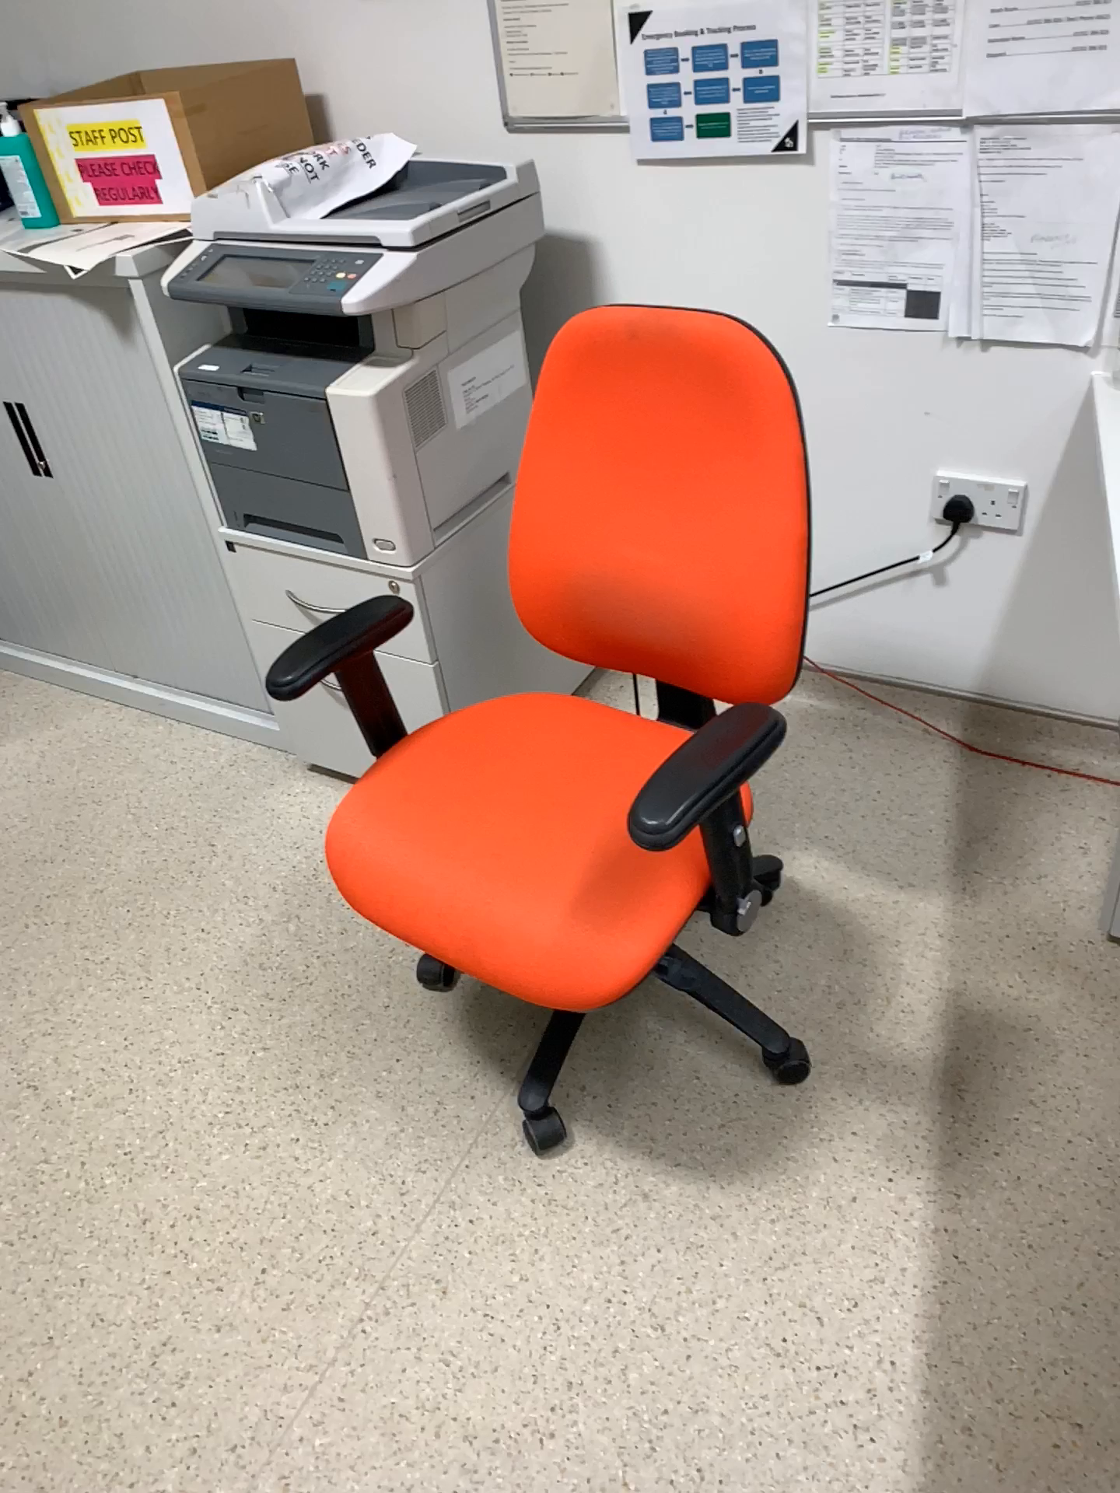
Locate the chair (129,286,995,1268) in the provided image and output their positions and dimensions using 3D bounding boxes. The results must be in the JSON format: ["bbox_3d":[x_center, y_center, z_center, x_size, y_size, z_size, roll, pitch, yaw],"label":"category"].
[{"bbox_3d":[0.061,-0.009,1.486,0.653,0.893,0.688,21,45,33],"label":"chair"}]
